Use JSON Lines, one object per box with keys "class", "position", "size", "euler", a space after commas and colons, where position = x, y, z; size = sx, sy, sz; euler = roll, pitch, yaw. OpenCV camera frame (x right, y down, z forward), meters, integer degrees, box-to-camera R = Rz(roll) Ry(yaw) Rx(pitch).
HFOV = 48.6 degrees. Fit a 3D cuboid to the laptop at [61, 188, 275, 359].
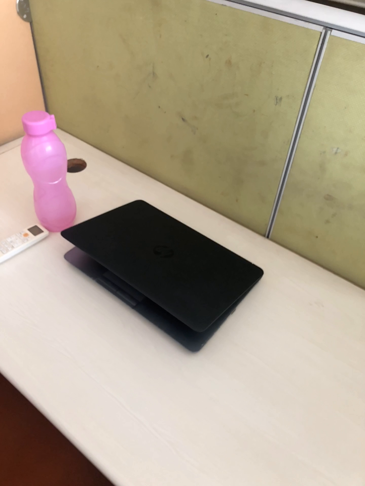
{"class": "laptop", "position": [-0.031, 0.034, 0.774], "size": [0.330, 0.050, 0.227], "euler": [32, 52, 25]}
